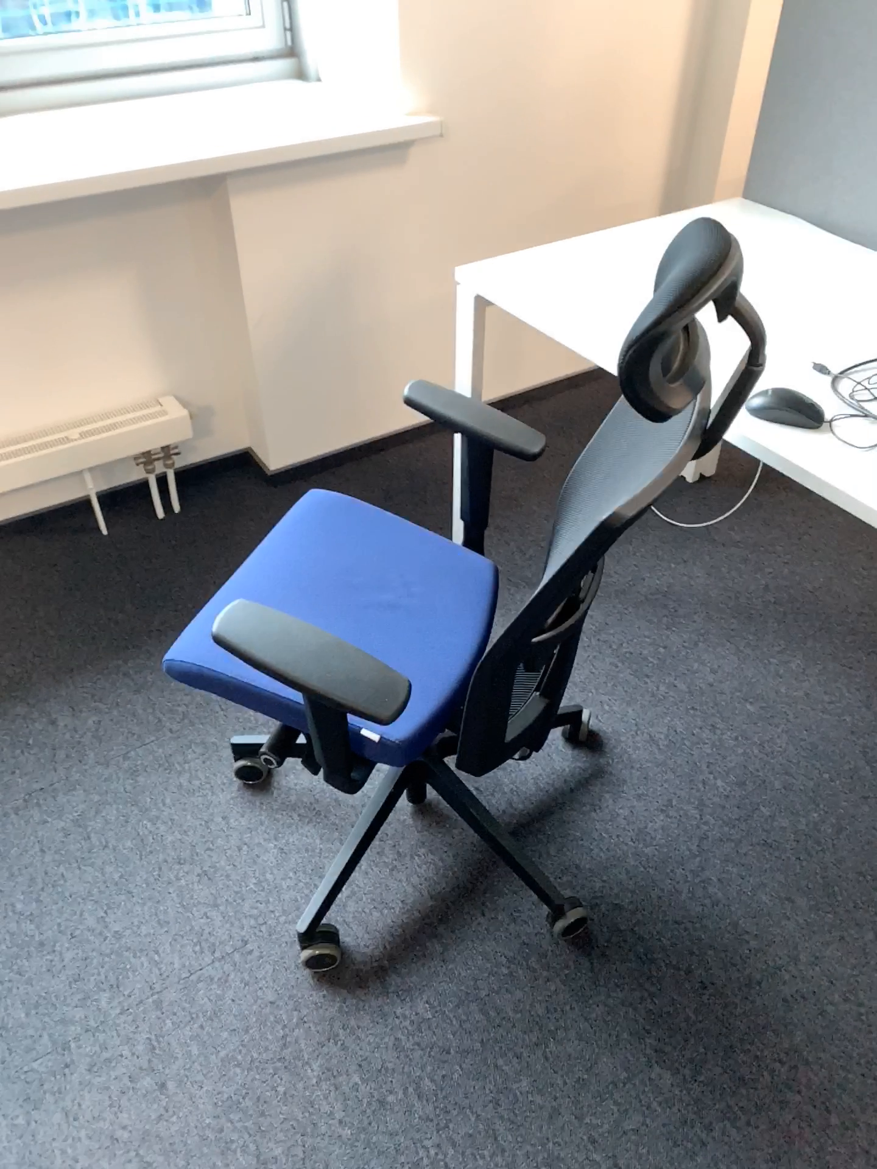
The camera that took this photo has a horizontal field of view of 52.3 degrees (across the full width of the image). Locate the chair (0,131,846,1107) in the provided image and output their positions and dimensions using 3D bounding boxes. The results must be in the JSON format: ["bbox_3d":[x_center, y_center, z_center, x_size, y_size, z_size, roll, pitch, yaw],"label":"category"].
[{"bbox_3d":[0.000,0.022,1.363,0.791,1.074,0.753,18,43,20],"label":"chair"}]
